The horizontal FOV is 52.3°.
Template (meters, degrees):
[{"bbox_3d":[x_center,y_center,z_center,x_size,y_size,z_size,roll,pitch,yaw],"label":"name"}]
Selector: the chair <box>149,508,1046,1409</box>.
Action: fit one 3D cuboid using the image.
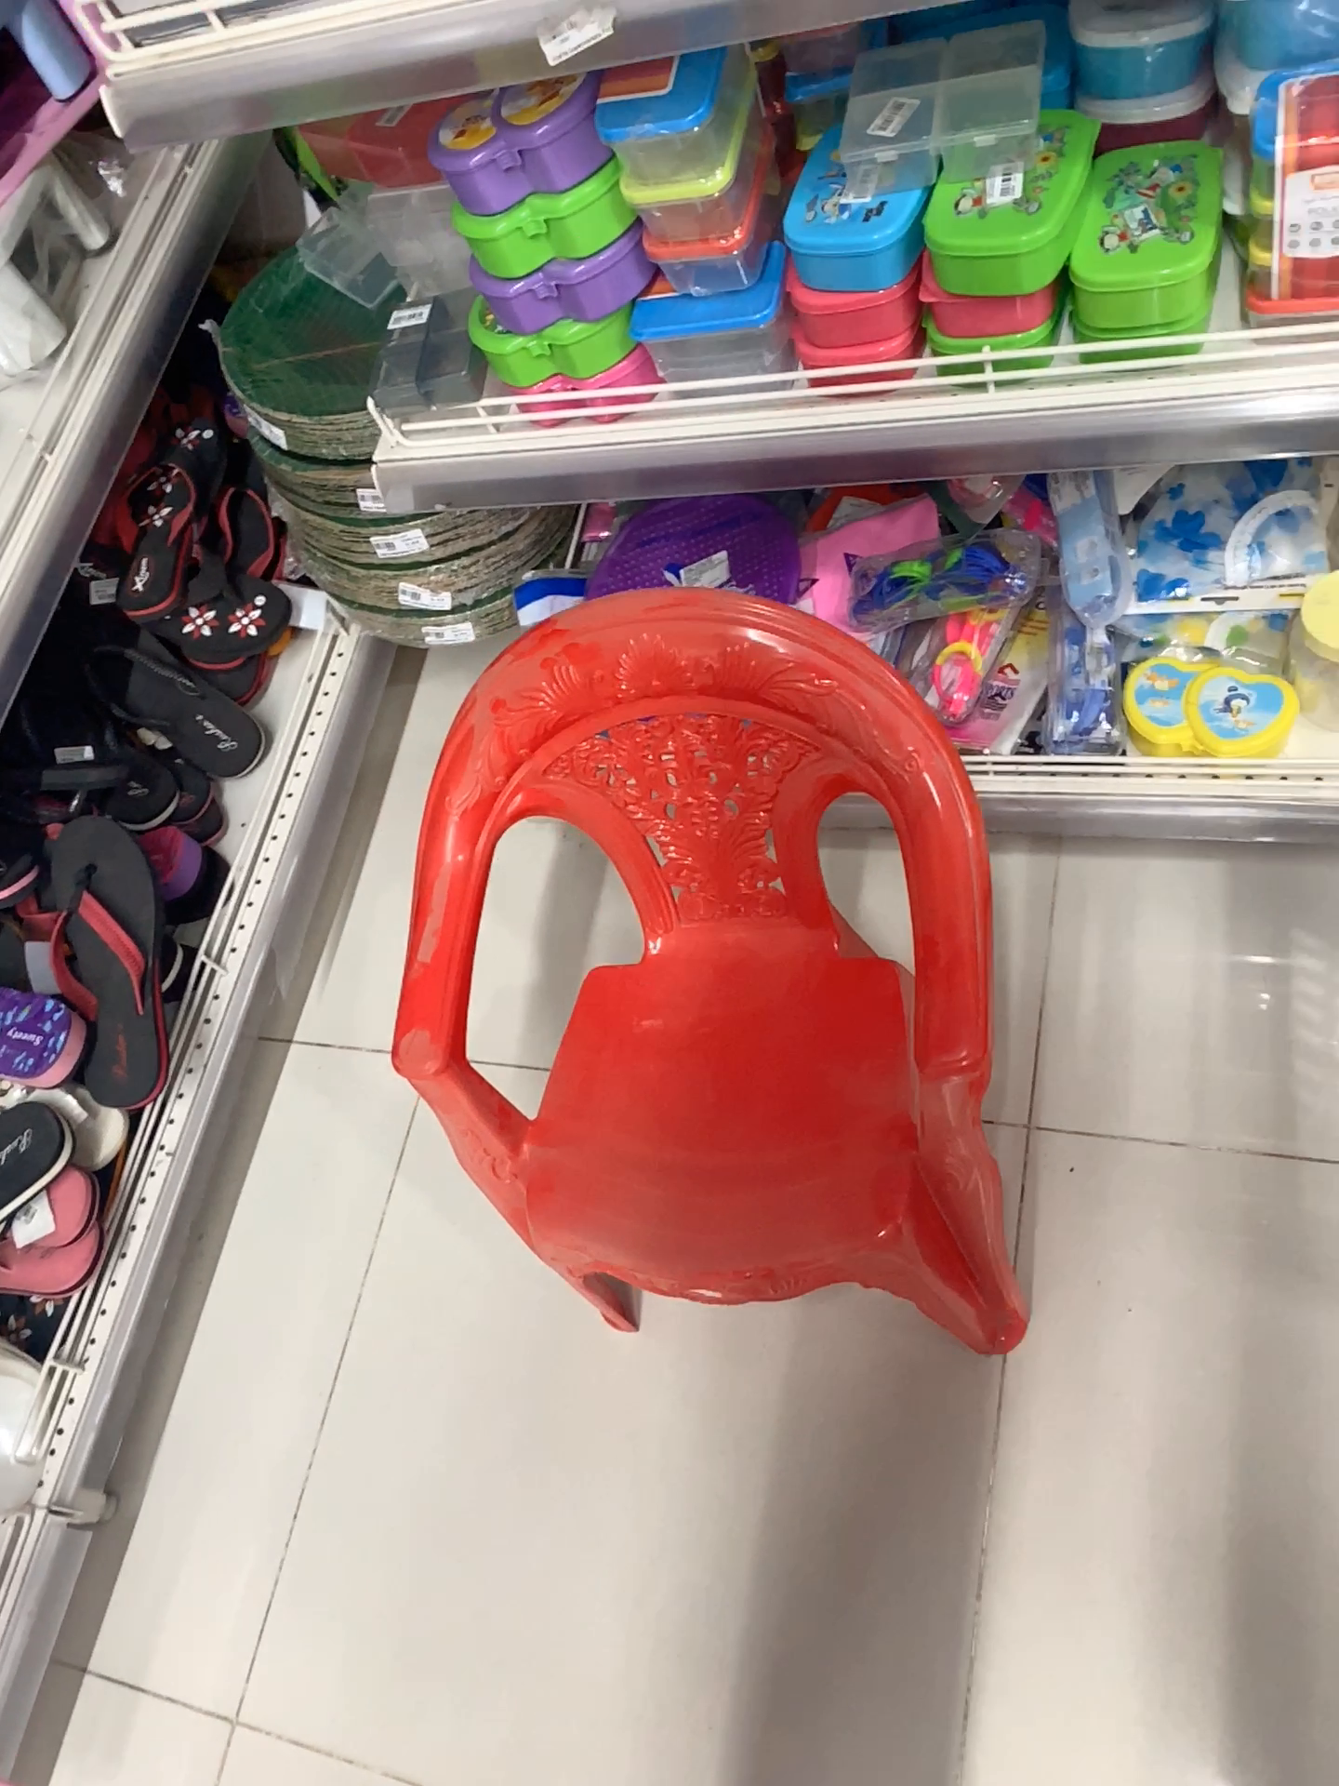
[{"bbox_3d":[0.024,0.087,0.942,0.411,0.499,0.410,-1,63,20],"label":"chair"}]
